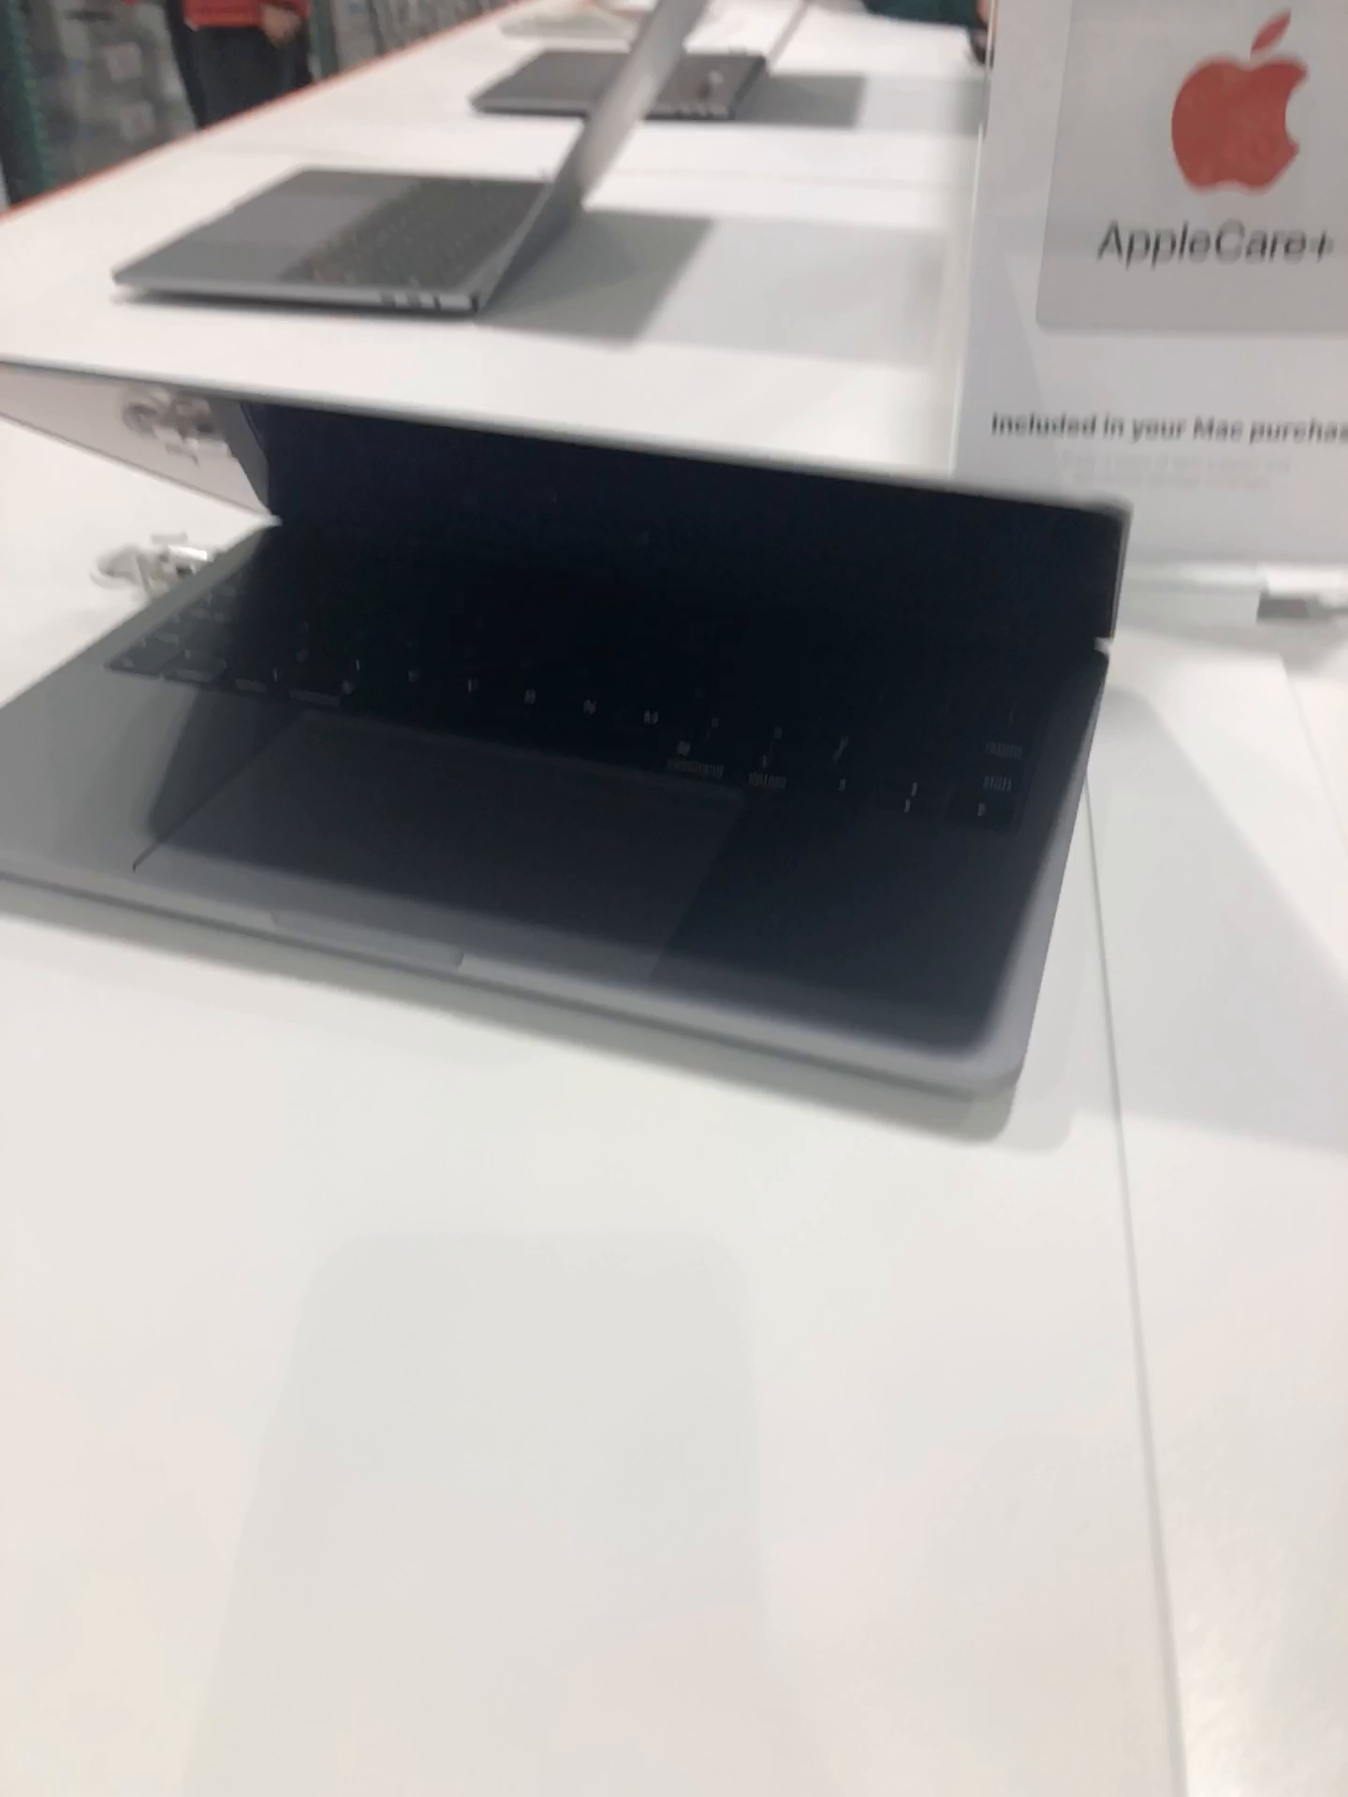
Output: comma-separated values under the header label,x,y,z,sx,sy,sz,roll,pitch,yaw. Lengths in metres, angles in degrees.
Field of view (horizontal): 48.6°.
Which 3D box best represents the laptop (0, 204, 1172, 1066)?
label,x,y,z,sx,sy,sz,roll,pitch,yaw
laptop,-0.036,-0.095,0.401,0.294,0.109,0.205,12,38,15
